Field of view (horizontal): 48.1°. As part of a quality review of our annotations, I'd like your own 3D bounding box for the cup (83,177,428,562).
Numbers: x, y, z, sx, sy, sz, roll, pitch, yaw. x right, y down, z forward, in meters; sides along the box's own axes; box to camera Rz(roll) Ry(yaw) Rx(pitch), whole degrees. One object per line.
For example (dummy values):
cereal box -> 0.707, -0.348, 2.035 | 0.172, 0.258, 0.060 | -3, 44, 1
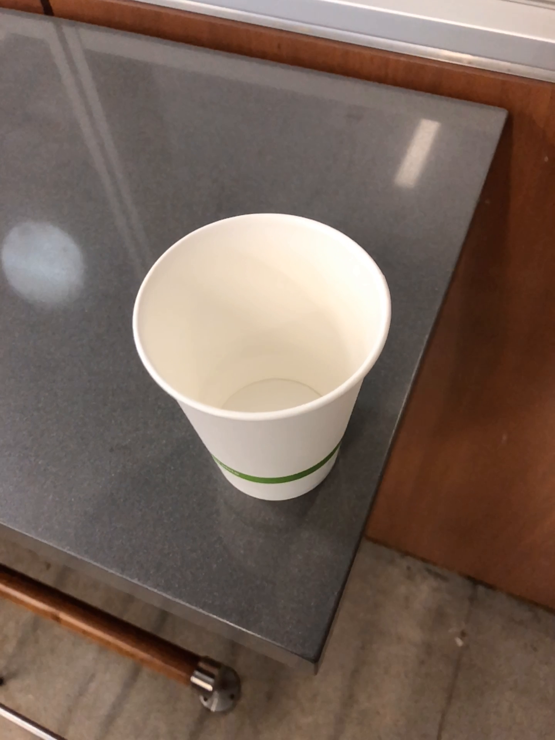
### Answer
cup -> -0.009, 0.006, 0.254 | 0.090, 0.120, 0.080 | -20, 58, -11
